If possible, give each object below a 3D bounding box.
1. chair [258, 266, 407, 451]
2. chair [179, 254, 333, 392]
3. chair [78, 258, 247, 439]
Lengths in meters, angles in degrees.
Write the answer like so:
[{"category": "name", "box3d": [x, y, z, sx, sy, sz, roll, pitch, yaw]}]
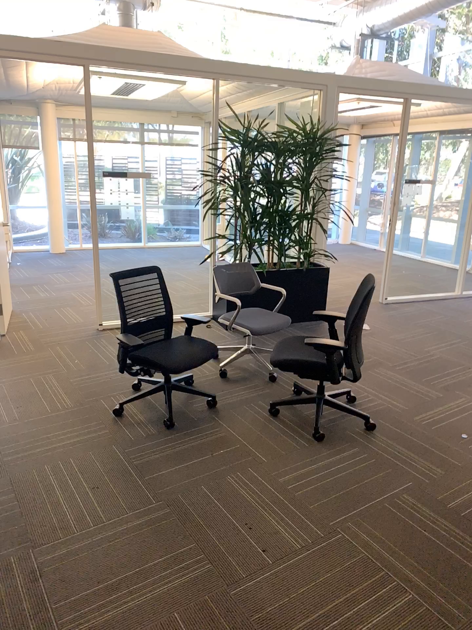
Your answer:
[{"category": "chair", "box3d": [0.604, 0.219, 3.159, 0.761, 0.886, 0.853, 5, 17, 10]}, {"category": "chair", "box3d": [0.135, -0.004, 3.983, 0.840, 0.797, 0.924, -12, 22, -39]}, {"category": "chair", "box3d": [-0.474, 0.150, 3.238, 0.722, 0.886, 0.811, 14, 20, 36]}]
